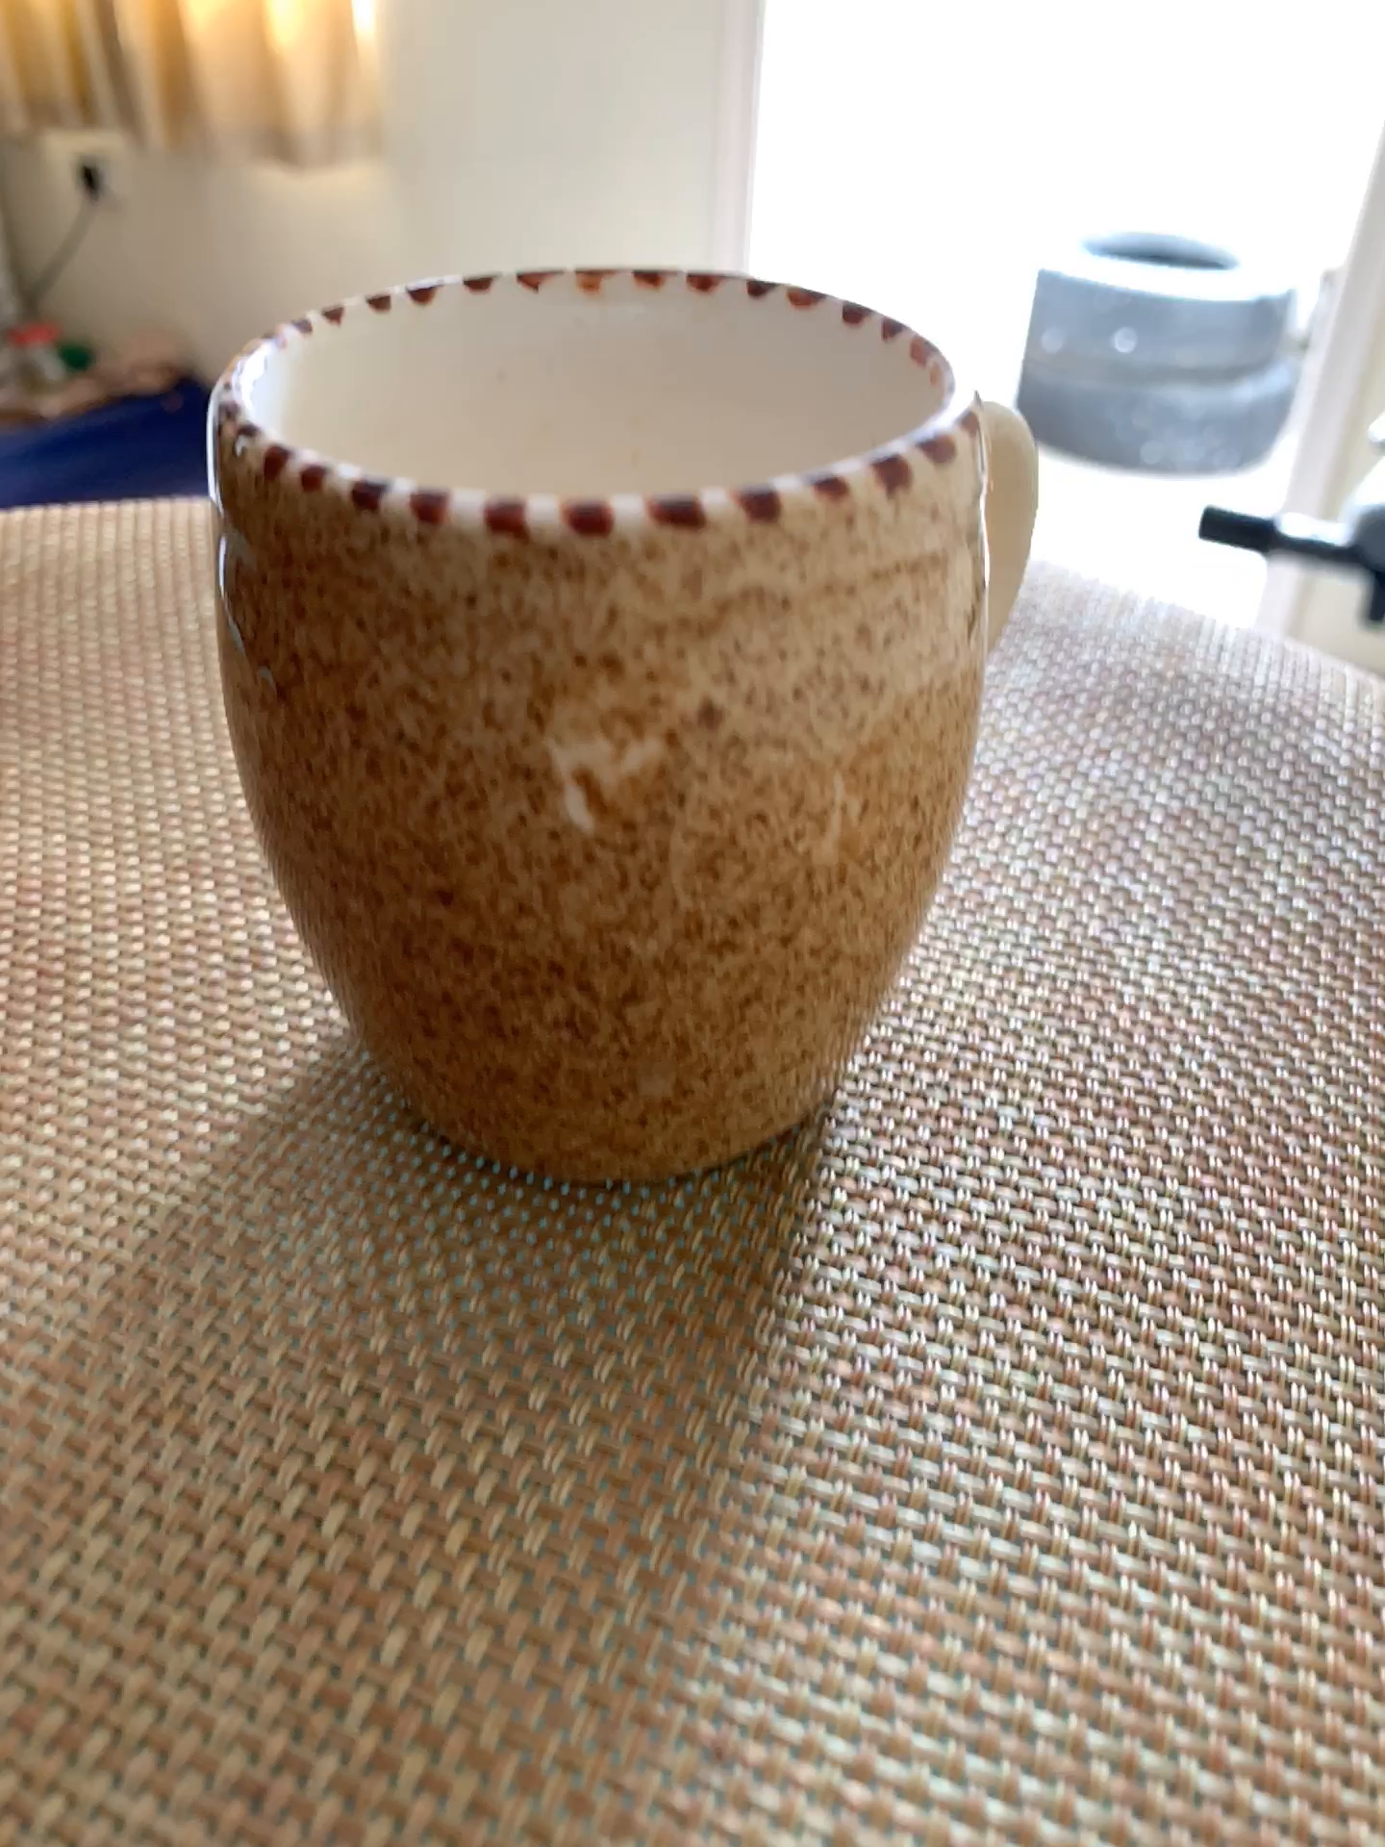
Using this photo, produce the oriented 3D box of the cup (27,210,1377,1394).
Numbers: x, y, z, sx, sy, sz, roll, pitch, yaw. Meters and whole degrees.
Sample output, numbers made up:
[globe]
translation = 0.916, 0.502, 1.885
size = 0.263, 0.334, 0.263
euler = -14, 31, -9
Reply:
[cup]
translation = -0.001, -0.021, 0.145
size = 0.090, 0.069, 0.070
euler = -21, 43, -28
